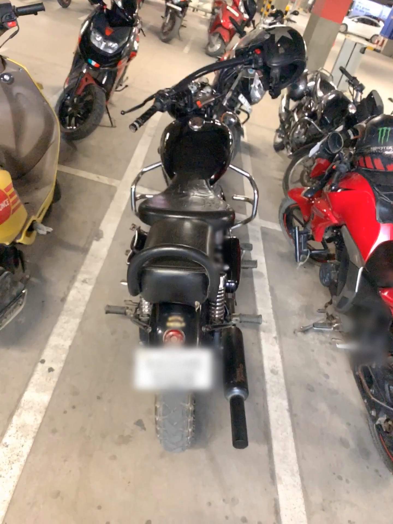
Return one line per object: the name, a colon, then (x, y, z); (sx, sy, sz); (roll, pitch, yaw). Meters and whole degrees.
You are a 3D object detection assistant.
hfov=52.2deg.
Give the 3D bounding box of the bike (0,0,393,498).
bike: (-0.209, -0.334, 1.859); (0.799, 1.303, 2.031); (10, 36, -13)
